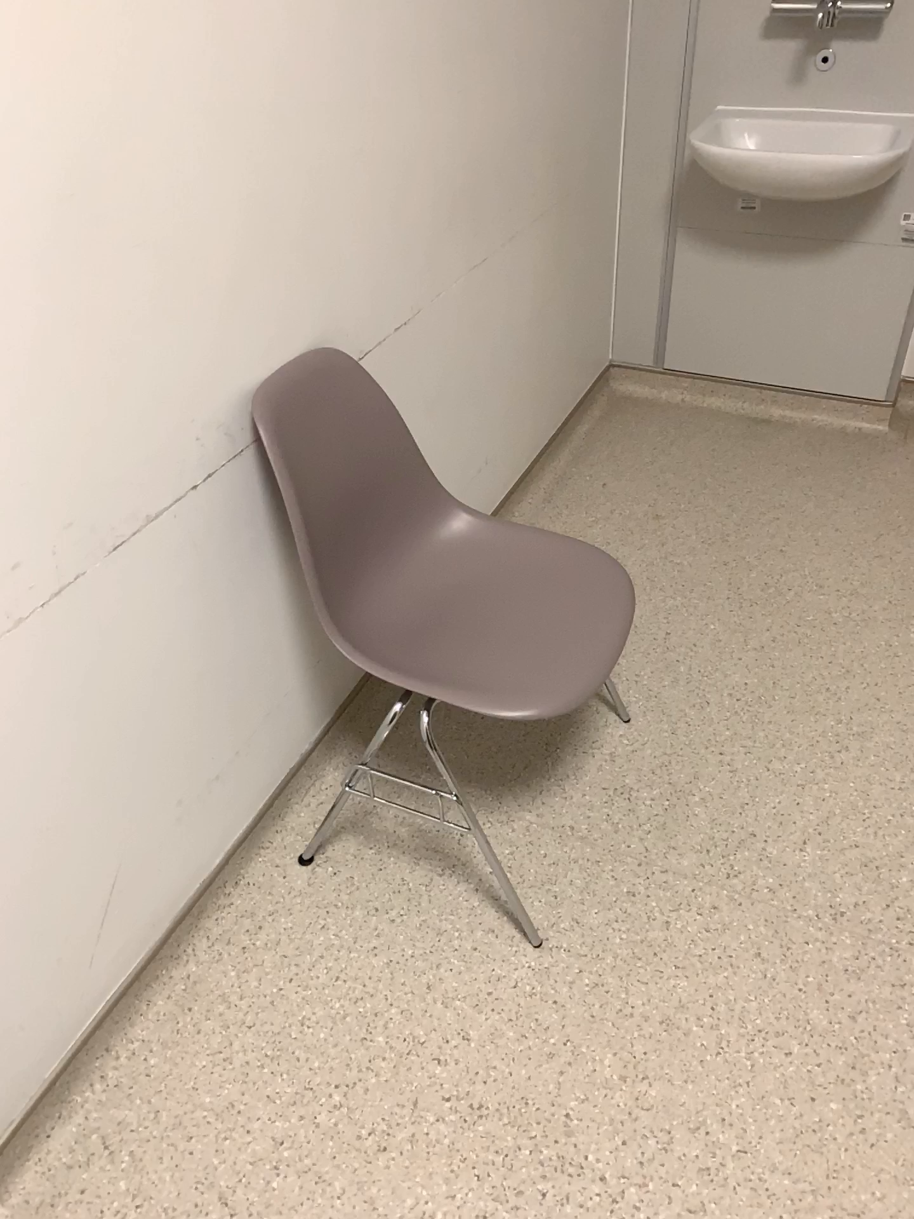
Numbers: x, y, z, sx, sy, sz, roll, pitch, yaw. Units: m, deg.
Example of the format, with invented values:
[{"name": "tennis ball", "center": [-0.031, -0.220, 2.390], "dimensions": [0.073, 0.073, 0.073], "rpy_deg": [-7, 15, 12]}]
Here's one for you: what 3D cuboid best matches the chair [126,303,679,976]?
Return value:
[{"name": "chair", "center": [-0.022, 0.026, 1.491], "dimensions": [0.541, 0.782, 0.585], "rpy_deg": [14, 41, 21]}]
